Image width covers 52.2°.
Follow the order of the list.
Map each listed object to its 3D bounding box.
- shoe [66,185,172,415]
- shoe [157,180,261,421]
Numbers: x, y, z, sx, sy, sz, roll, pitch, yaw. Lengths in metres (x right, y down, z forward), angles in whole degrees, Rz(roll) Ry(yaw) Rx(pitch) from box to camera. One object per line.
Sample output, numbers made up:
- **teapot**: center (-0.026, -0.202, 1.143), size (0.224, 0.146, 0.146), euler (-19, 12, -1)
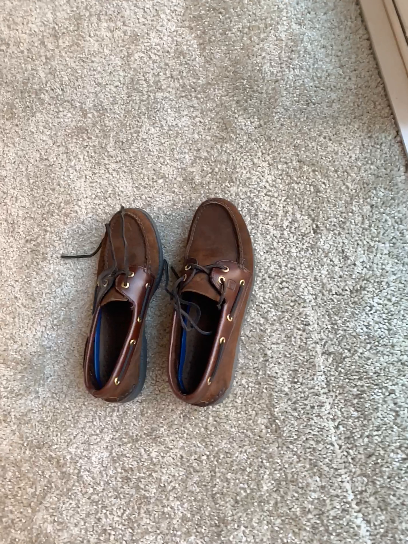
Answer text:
- **shoe**: center (-0.122, 0.042, 0.639), size (0.100, 0.100, 0.320), euler (-2, 78, 18)
- **shoe**: center (0.015, 0.038, 0.577), size (0.110, 0.100, 0.300), euler (-2, 78, 18)
